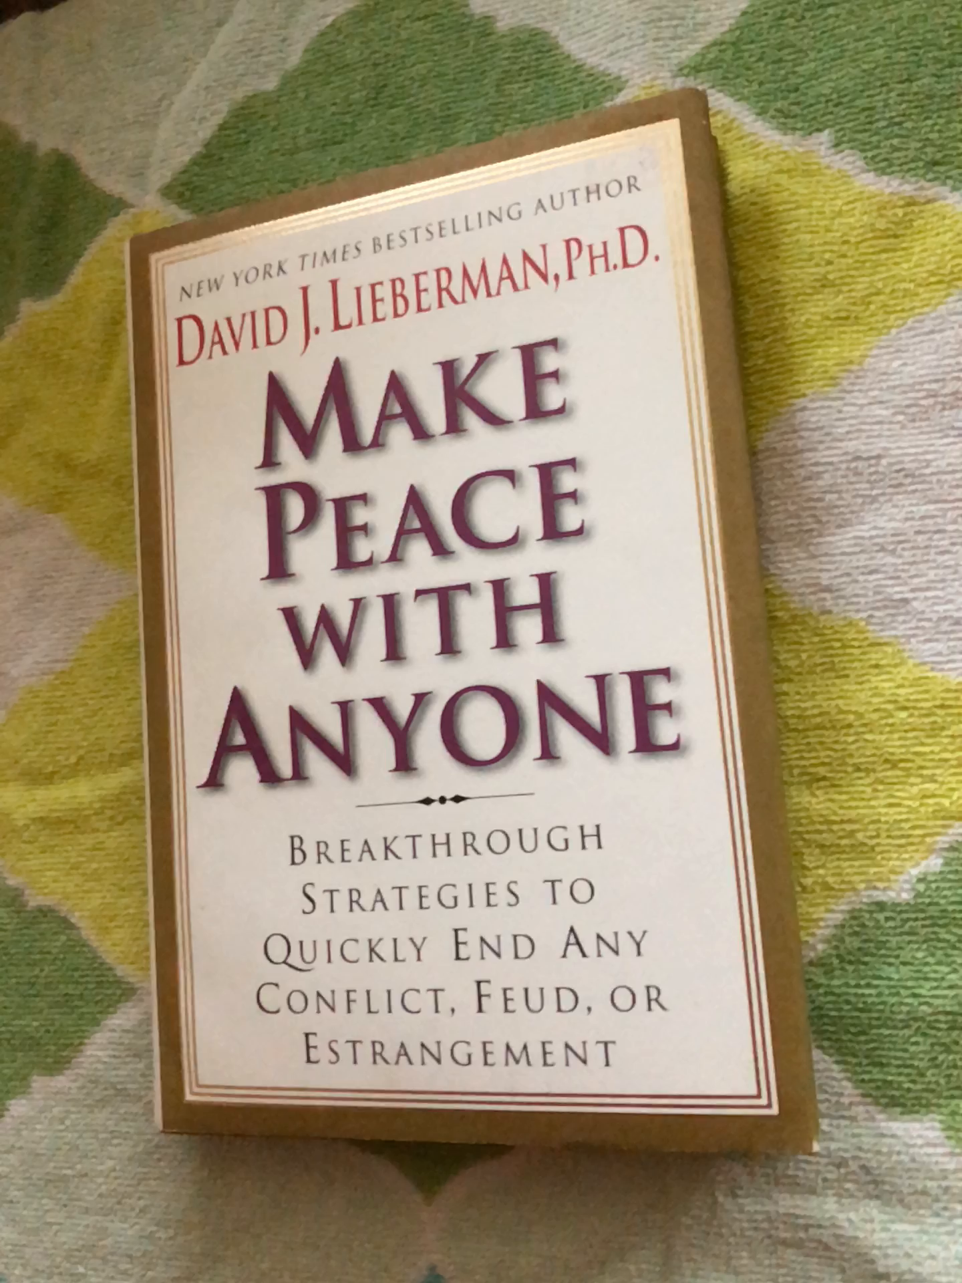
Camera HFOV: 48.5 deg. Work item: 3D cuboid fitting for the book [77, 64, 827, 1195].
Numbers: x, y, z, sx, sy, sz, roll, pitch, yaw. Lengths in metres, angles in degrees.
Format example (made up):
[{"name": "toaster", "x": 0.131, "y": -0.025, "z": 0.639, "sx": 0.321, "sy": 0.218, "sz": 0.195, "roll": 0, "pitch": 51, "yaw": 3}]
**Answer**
[{"name": "book", "x": -0.015, "y": 0.000, "z": 0.227, "sx": 0.145, "sy": 0.030, "sz": 0.204, "roll": -7, "pitch": 81, "yaw": 18}]
